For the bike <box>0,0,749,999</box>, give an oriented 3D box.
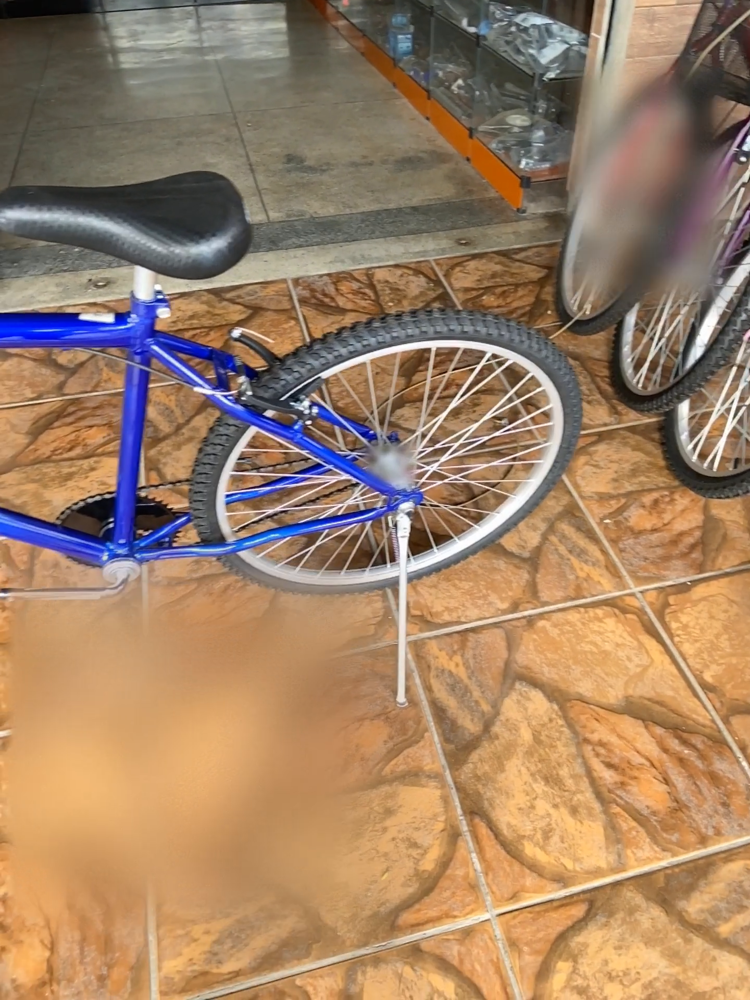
[{"bbox_3d":[-0.333,0.089,0.880,1.526,1.013,0.574,-22,46,-16],"label":"bike"}]
